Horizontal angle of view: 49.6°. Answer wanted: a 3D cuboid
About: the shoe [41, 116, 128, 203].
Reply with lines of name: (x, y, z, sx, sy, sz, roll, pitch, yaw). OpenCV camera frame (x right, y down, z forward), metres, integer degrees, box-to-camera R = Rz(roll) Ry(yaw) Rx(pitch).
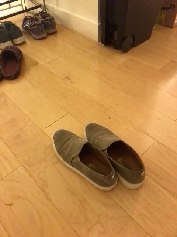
shoe: (-0.022, 0.110, 0.589, 0.100, 0.070, 0.271, -35, 54, -27)

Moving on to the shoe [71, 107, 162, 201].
shoe: (0.072, 0.094, 0.611, 0.110, 0.079, 0.291, -28, 51, -22)
